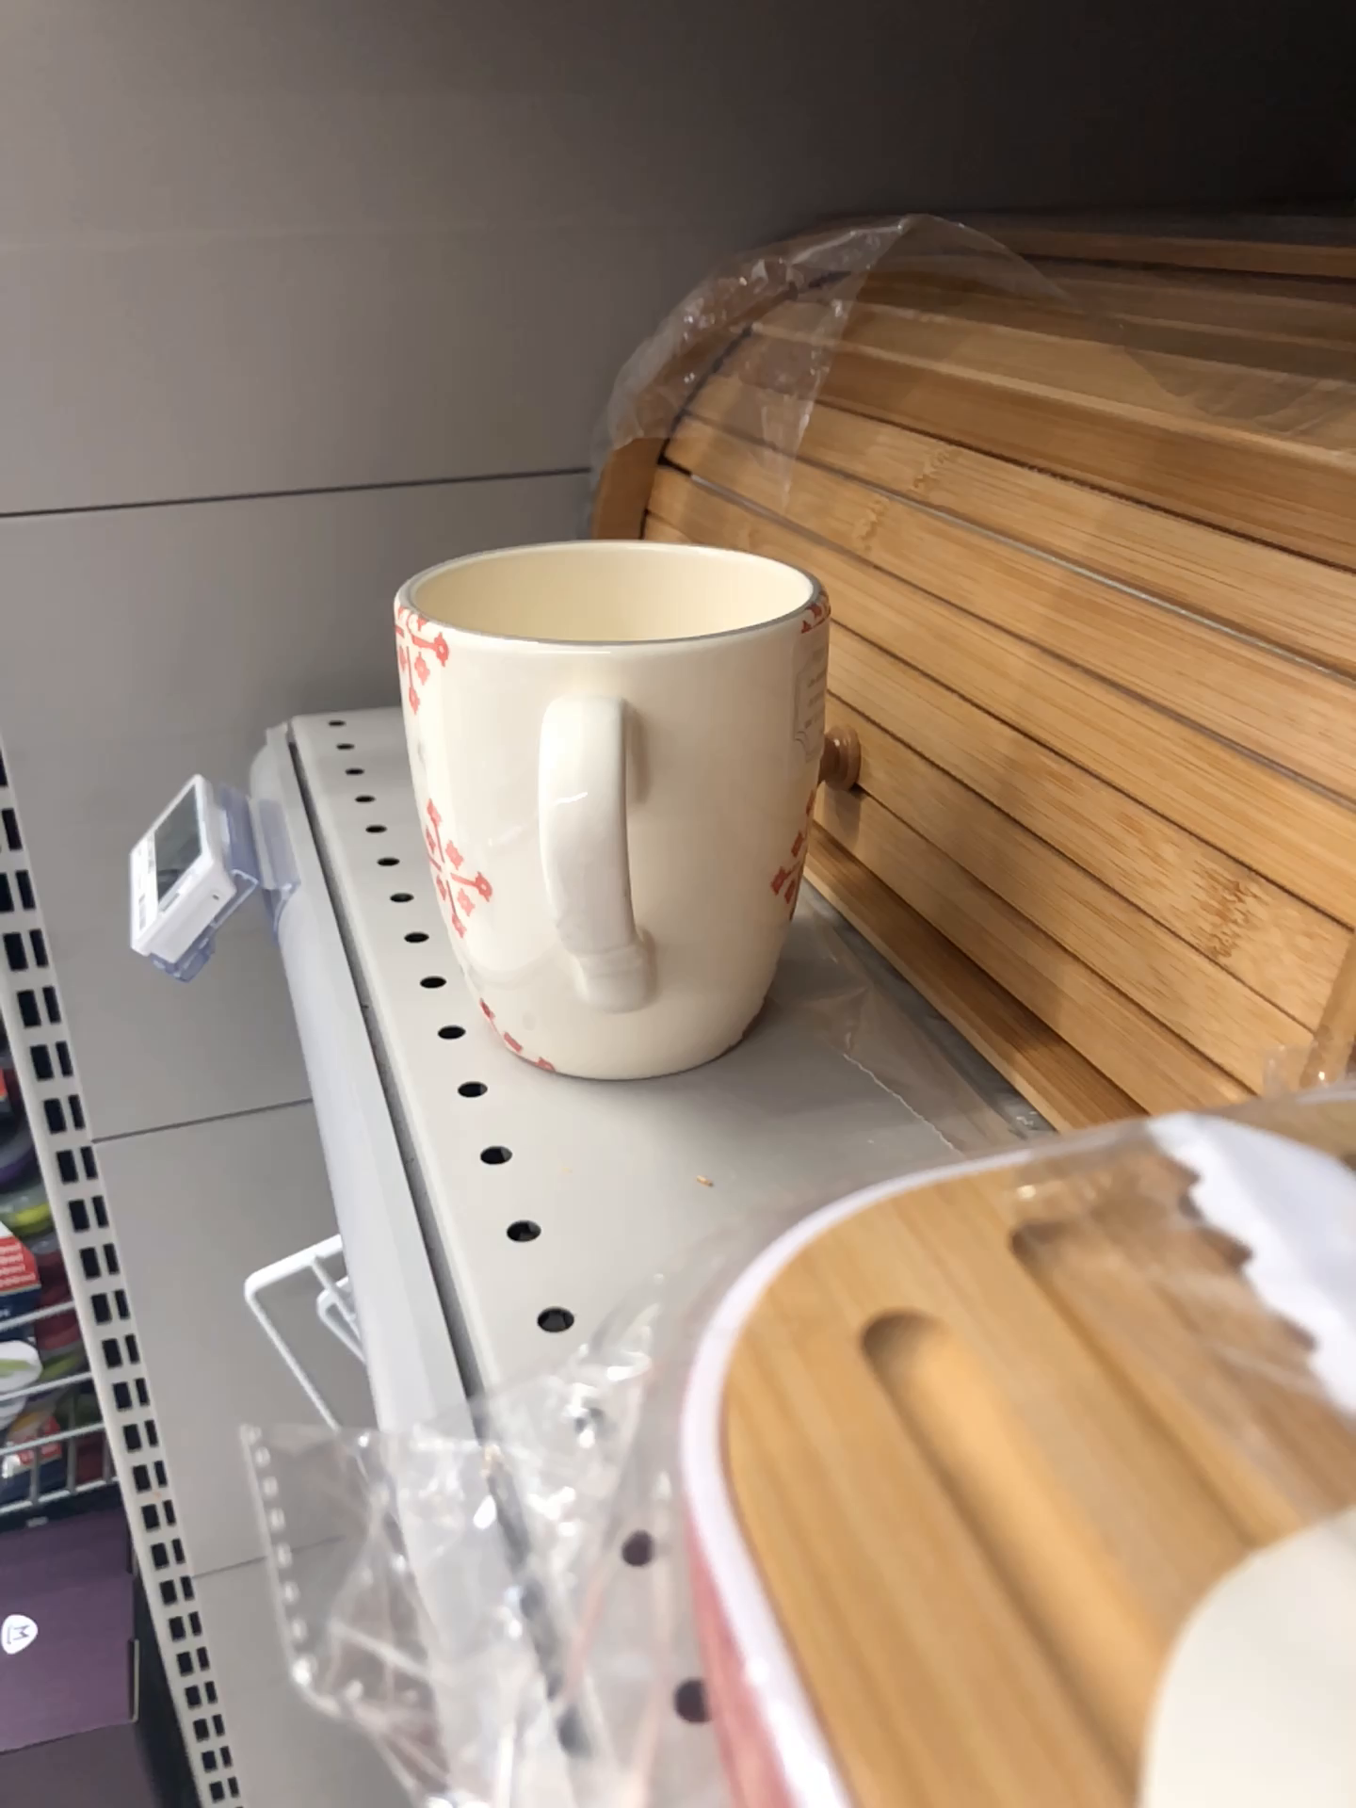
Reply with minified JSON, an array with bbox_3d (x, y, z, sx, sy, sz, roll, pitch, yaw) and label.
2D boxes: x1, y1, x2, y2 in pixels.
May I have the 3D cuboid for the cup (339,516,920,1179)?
[{"bbox_3d":[-0.009,-0.020,0.308,0.090,0.089,0.125,-2,26,-2],"label":"cup"}]
